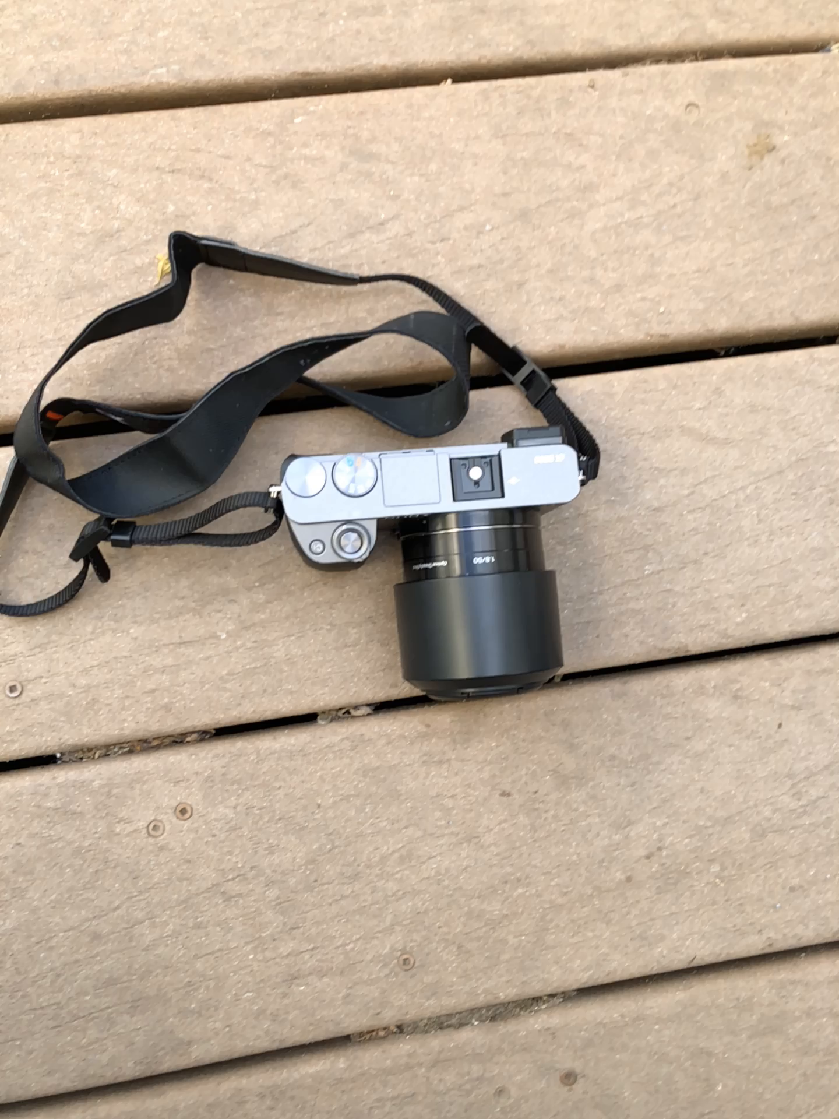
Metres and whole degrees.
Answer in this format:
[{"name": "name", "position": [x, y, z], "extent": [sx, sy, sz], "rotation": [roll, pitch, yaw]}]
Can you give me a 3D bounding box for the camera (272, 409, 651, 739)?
[{"name": "camera", "position": [0.013, 0.006, 0.375], "extent": [0.130, 0.070, 0.110], "rotation": [-5, 86, -6]}]
